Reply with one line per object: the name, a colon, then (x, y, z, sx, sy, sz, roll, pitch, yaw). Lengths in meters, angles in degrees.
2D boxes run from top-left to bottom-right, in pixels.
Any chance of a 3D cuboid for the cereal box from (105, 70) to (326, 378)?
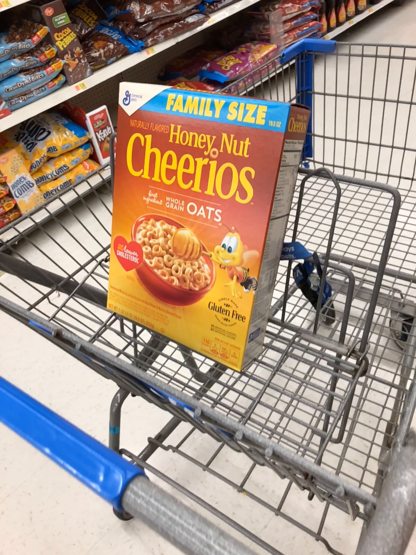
cereal box: (-0.013, -0.075, 0.591, 0.251, 0.330, 0.070, 20, 24, 31)
